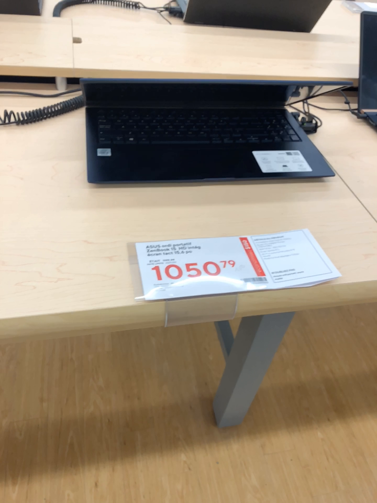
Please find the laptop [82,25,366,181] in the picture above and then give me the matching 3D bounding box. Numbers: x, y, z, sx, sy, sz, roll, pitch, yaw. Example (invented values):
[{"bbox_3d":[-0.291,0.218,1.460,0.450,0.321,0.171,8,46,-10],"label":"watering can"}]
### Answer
[{"bbox_3d":[0.031,-0.215,0.593,0.346,0.119,0.204,-3,46,-13],"label":"laptop"}]
